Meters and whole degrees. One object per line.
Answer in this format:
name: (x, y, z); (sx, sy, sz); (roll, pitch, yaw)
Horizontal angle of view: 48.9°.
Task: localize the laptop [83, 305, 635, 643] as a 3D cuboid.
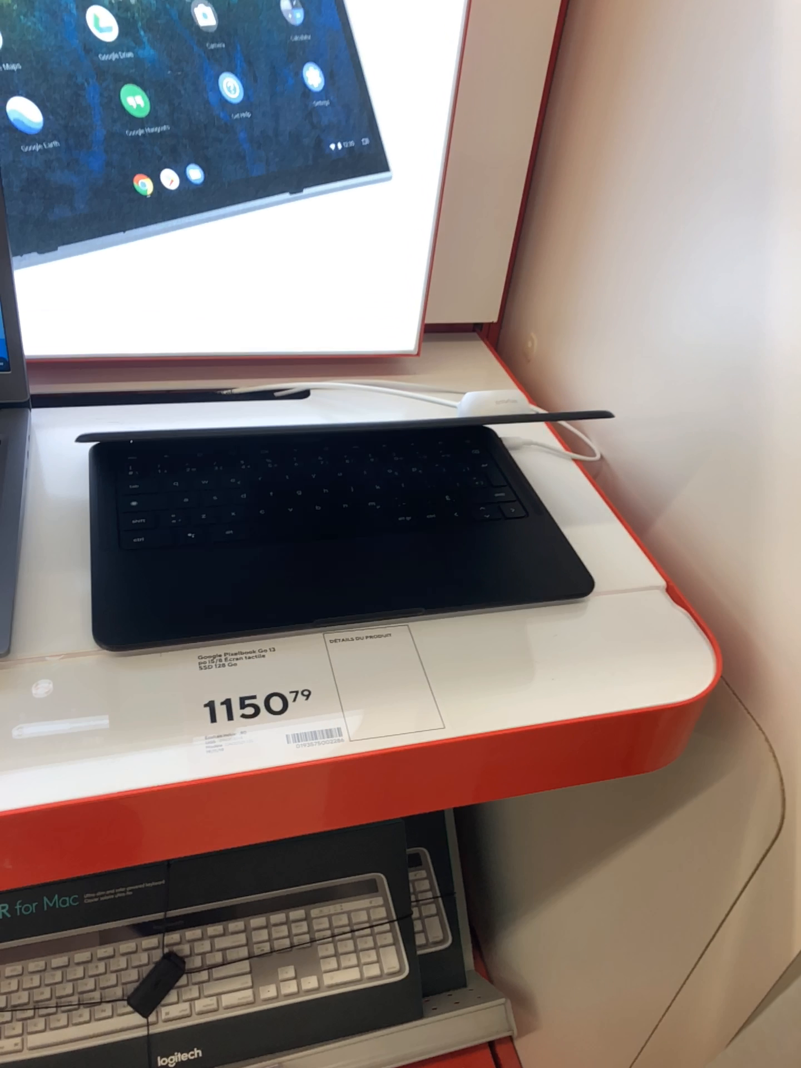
laptop: (-0.041, -0.055, 0.567); (0.298, 0.106, 0.200); (-5, 39, -17)
